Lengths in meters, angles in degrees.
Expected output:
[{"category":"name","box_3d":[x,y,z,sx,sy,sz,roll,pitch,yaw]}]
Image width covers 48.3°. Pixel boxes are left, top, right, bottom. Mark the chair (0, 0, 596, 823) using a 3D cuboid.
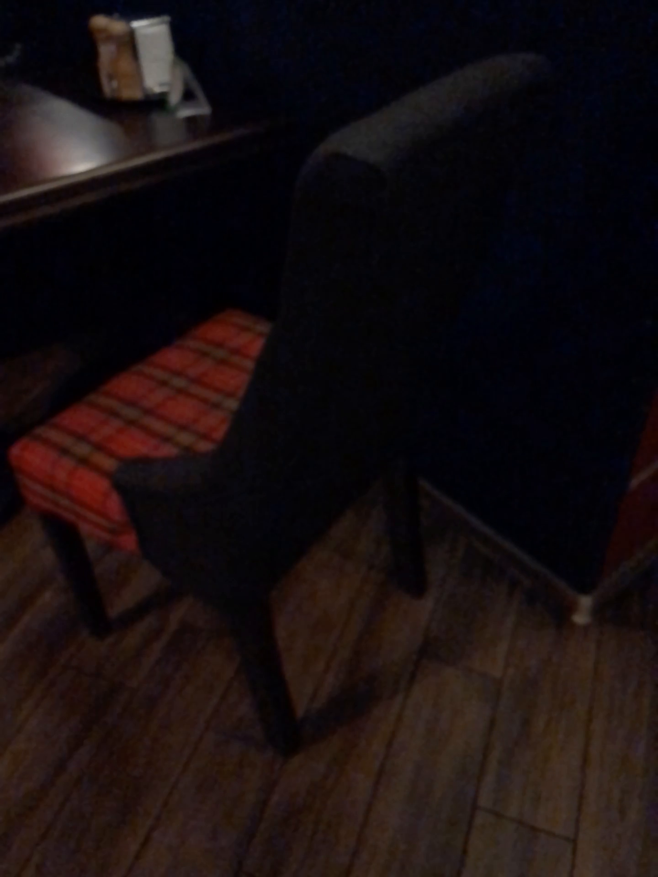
[{"category":"chair","box_3d":[-0.083,-0.050,1.111,0.611,1.003,0.523,23,45,29]}]
